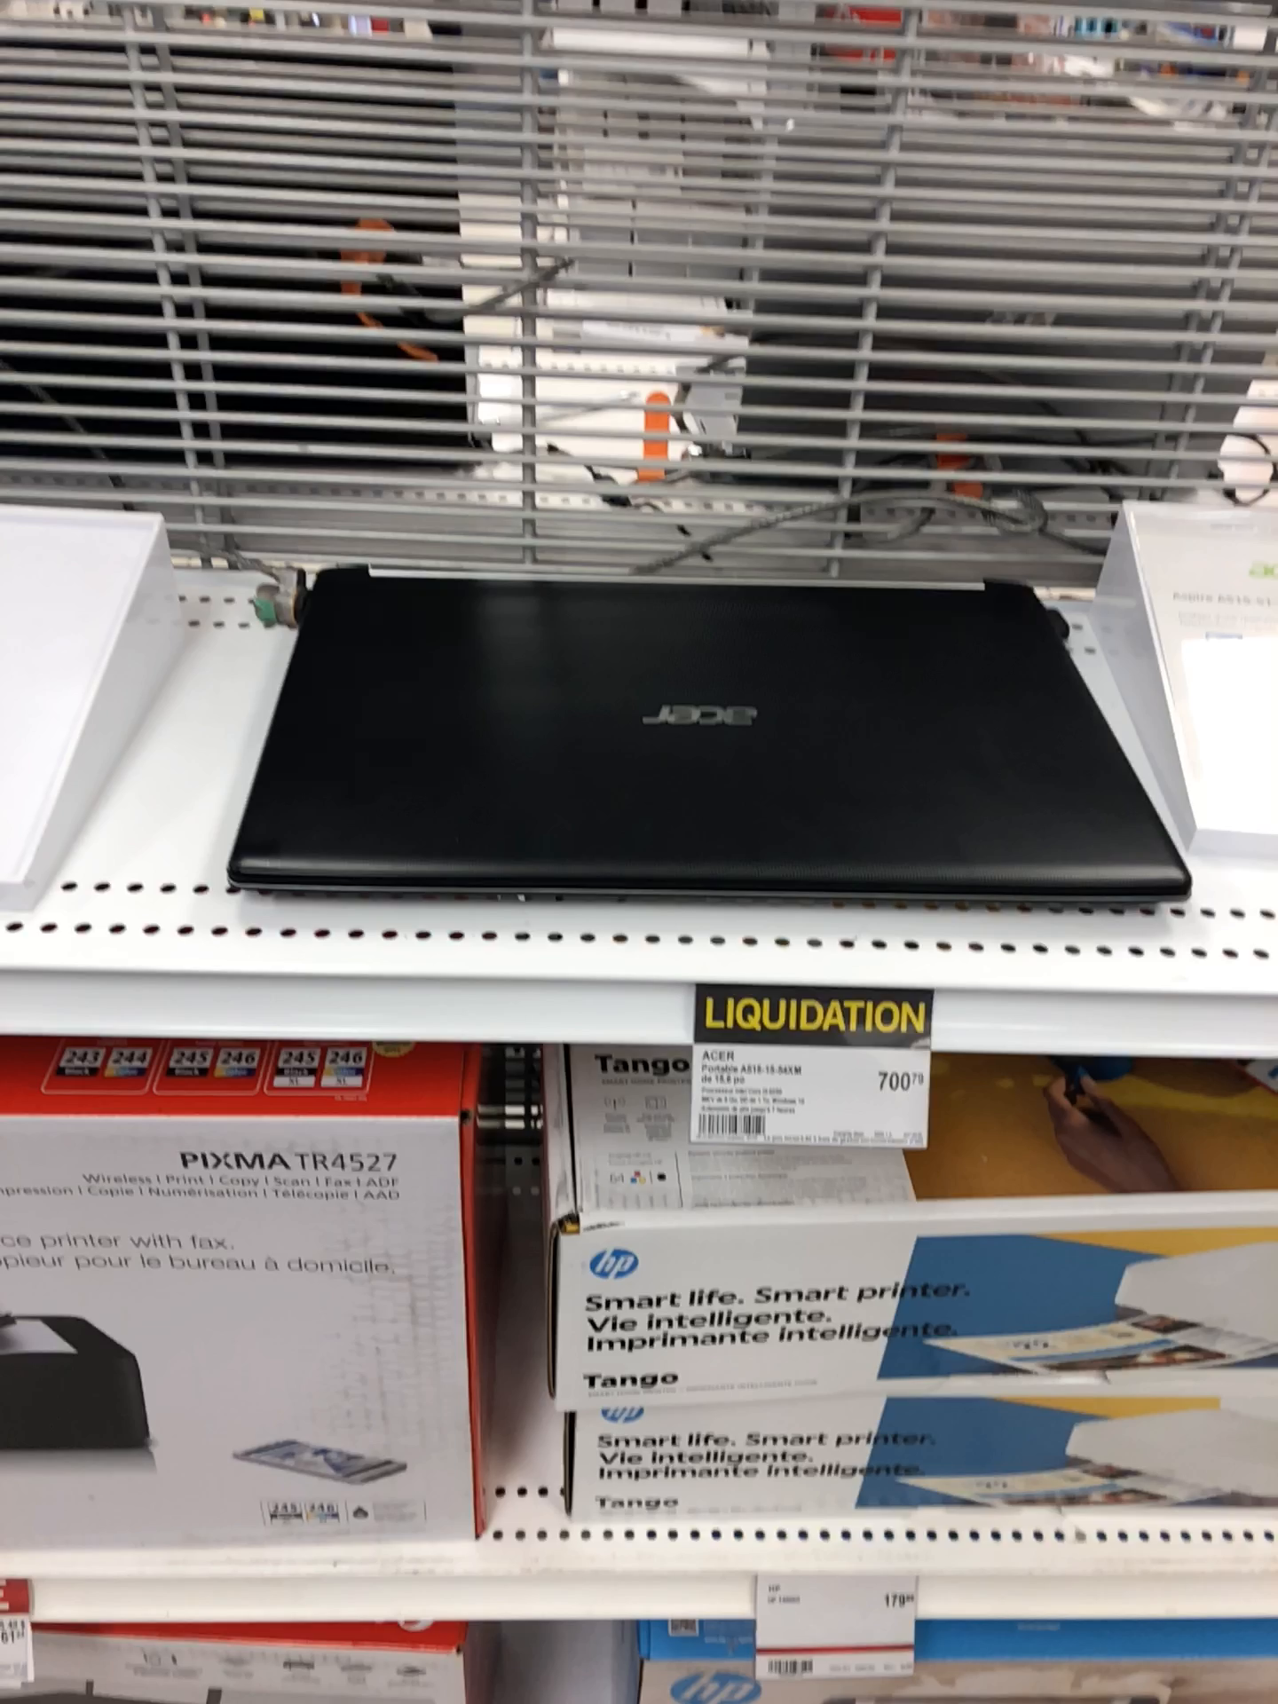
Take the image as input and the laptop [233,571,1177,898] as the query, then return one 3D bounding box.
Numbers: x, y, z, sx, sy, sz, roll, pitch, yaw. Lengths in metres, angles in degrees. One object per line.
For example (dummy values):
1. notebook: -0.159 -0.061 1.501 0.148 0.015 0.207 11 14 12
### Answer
1. laptop: 0.027 -0.060 0.625 0.361 0.012 0.228 1 40 -4
